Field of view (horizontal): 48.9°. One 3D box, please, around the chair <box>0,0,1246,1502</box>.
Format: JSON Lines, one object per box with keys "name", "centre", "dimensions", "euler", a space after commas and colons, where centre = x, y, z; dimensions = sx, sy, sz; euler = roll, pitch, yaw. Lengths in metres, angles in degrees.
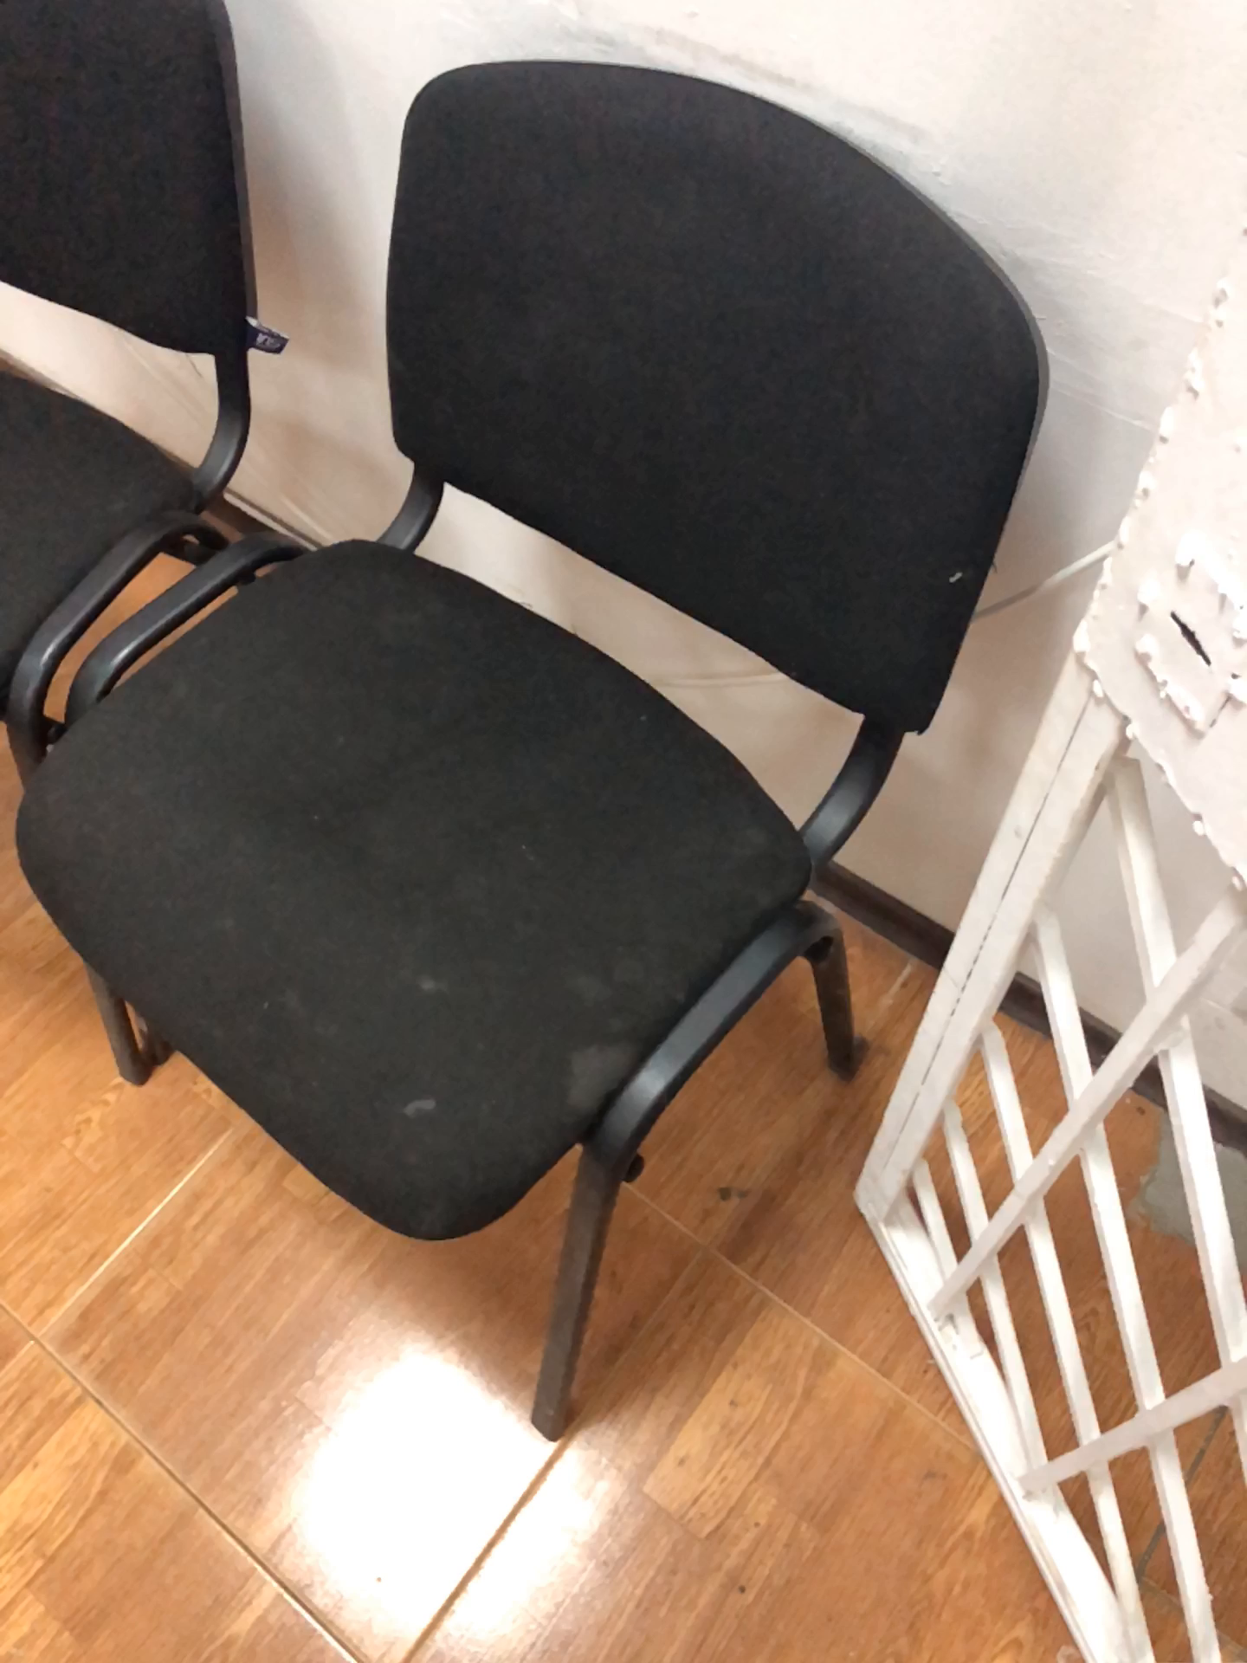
{"name": "chair", "centre": [-0.060, -0.038, 0.960], "dimensions": [0.571, 0.688, 0.621], "euler": [35, 65, 21]}
